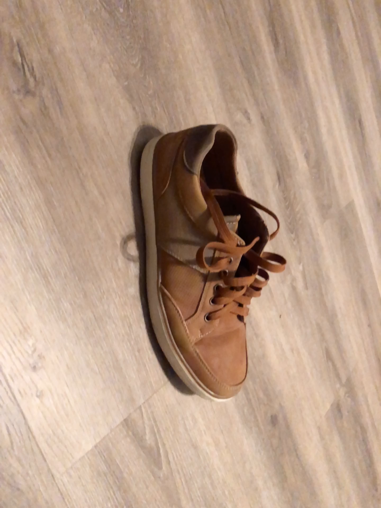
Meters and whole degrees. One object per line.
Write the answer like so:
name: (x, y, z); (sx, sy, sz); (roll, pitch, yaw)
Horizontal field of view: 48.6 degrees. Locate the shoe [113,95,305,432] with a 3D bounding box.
shoe: (0.020, 0.008, 0.420); (0.111, 0.099, 0.280); (-10, 90, -46)
